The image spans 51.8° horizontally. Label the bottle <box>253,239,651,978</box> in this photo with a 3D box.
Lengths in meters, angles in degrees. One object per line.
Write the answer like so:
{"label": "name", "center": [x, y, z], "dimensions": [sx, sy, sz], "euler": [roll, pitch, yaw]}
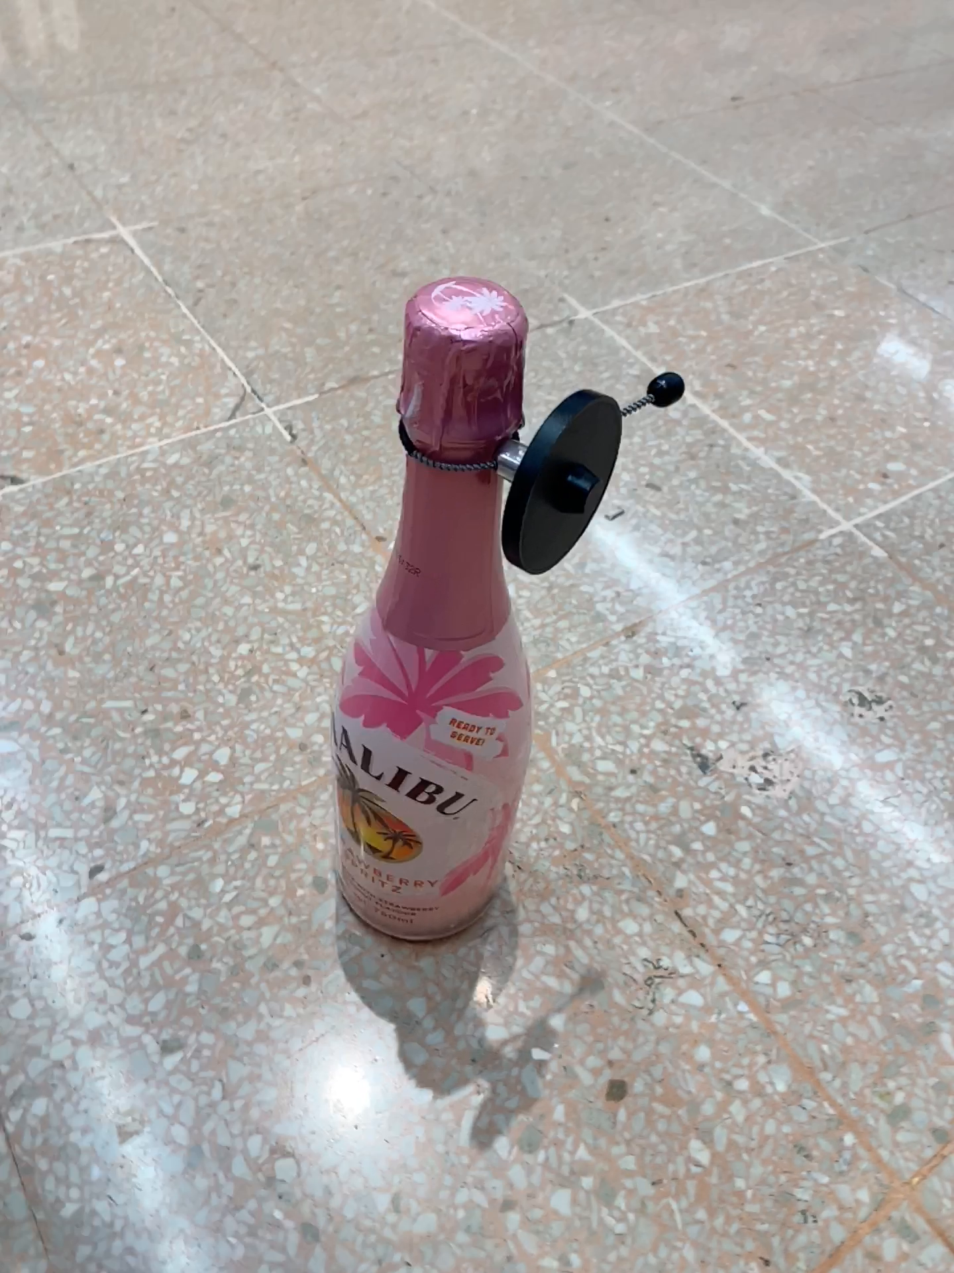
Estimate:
{"label": "bottle", "center": [-0.014, 0.017, 0.365], "dimensions": [0.080, 0.287, 0.081], "euler": [3, 48, -3]}
